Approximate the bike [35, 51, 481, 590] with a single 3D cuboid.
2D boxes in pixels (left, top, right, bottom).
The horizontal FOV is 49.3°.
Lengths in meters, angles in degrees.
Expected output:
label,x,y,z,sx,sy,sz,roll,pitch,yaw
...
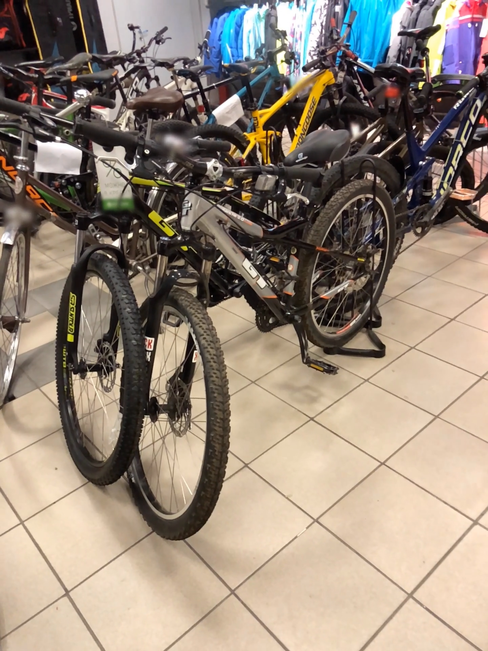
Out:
label,x,y,z,sx,sy,sz,roll,pitch,yaw
bike,0.241,-0.242,1.622,0.625,1.012,1.431,11,31,26
